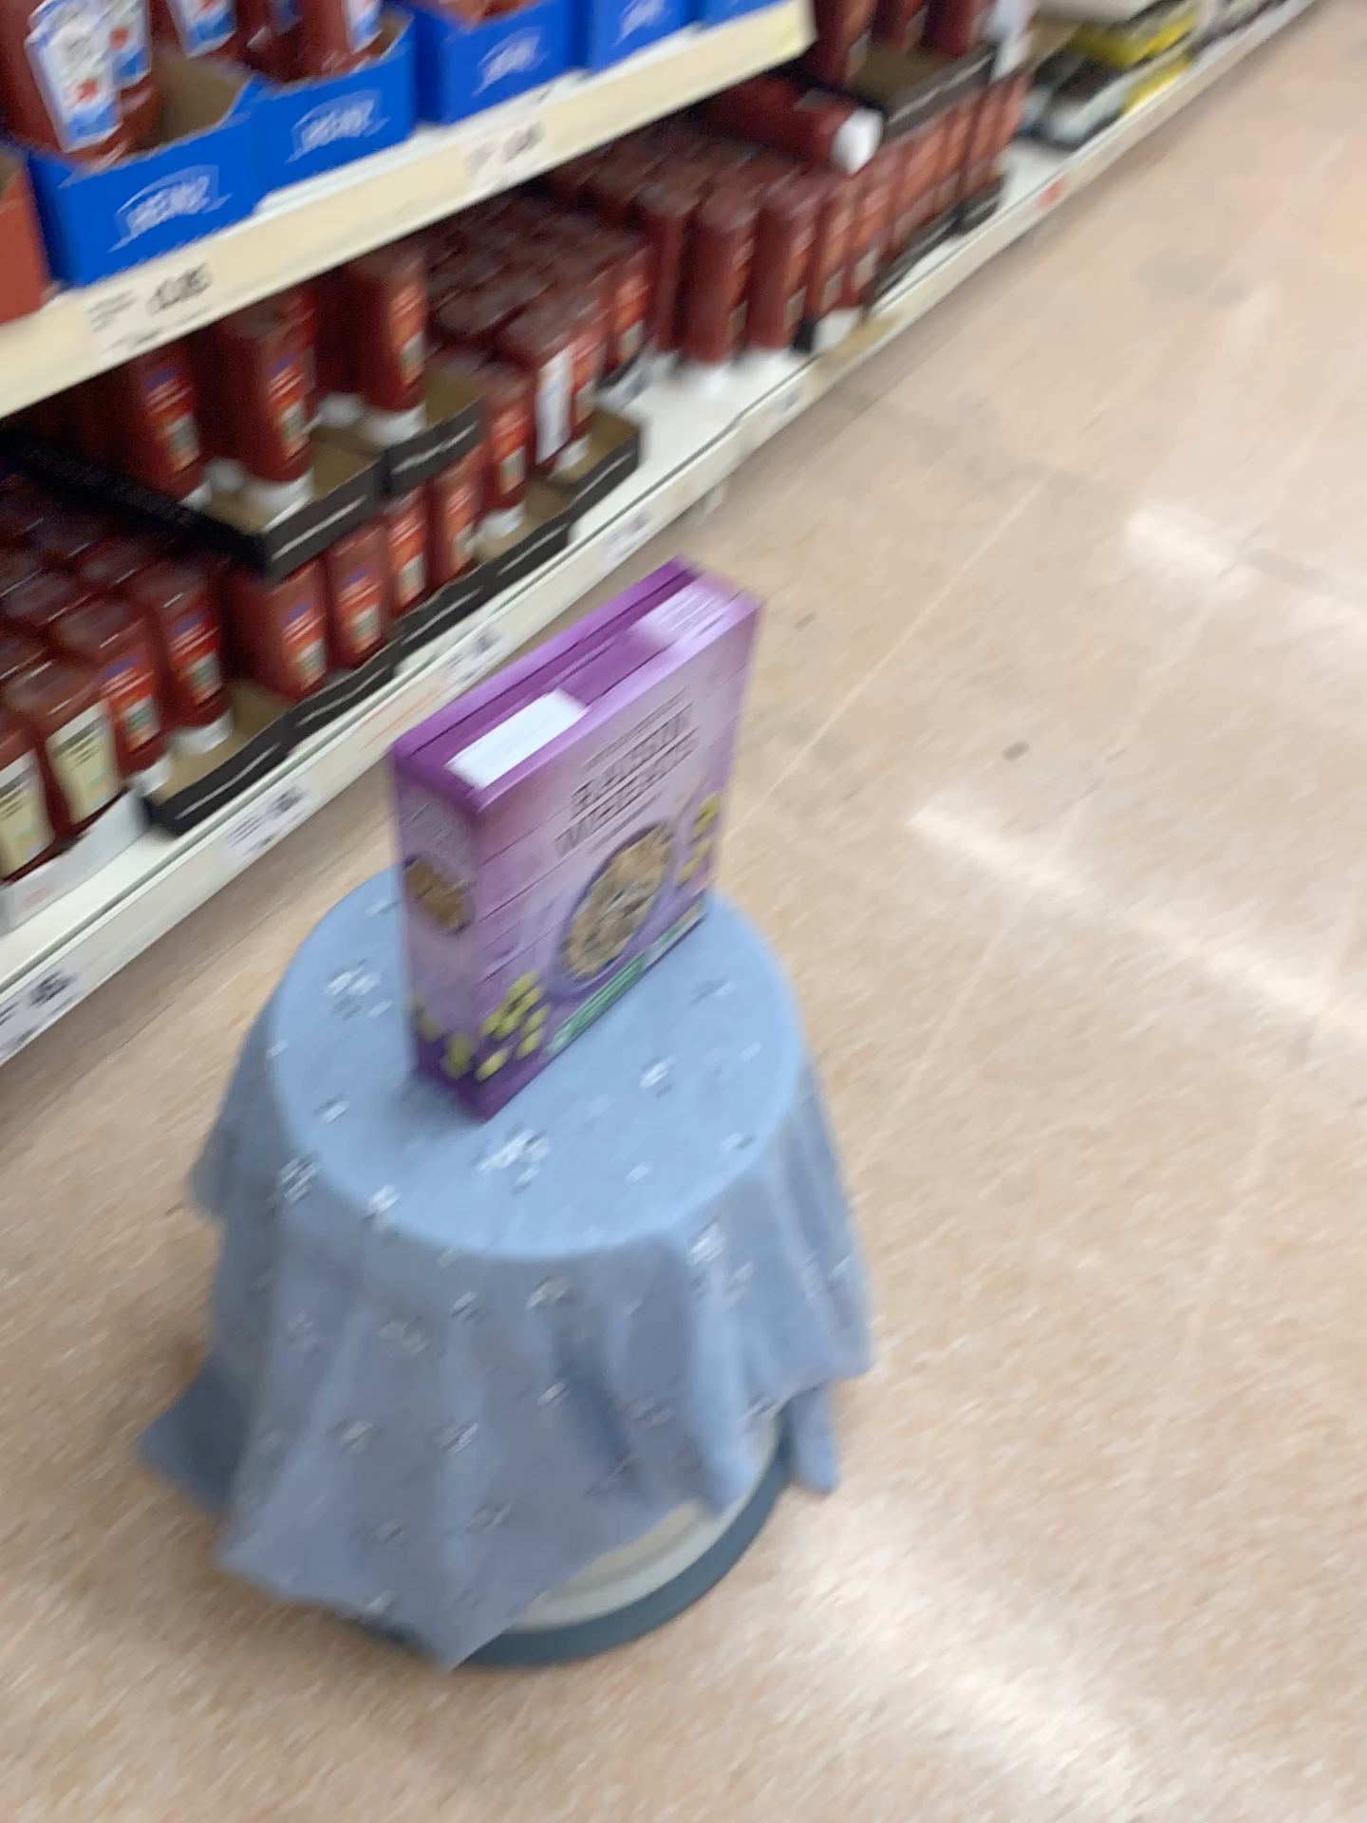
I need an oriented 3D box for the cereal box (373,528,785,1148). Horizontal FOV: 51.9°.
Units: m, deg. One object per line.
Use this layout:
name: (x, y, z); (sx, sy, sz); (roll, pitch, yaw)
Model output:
cereal box: (-0.051, -0.032, 0.683); (0.060, 0.238, 0.201); (33, 51, 20)
